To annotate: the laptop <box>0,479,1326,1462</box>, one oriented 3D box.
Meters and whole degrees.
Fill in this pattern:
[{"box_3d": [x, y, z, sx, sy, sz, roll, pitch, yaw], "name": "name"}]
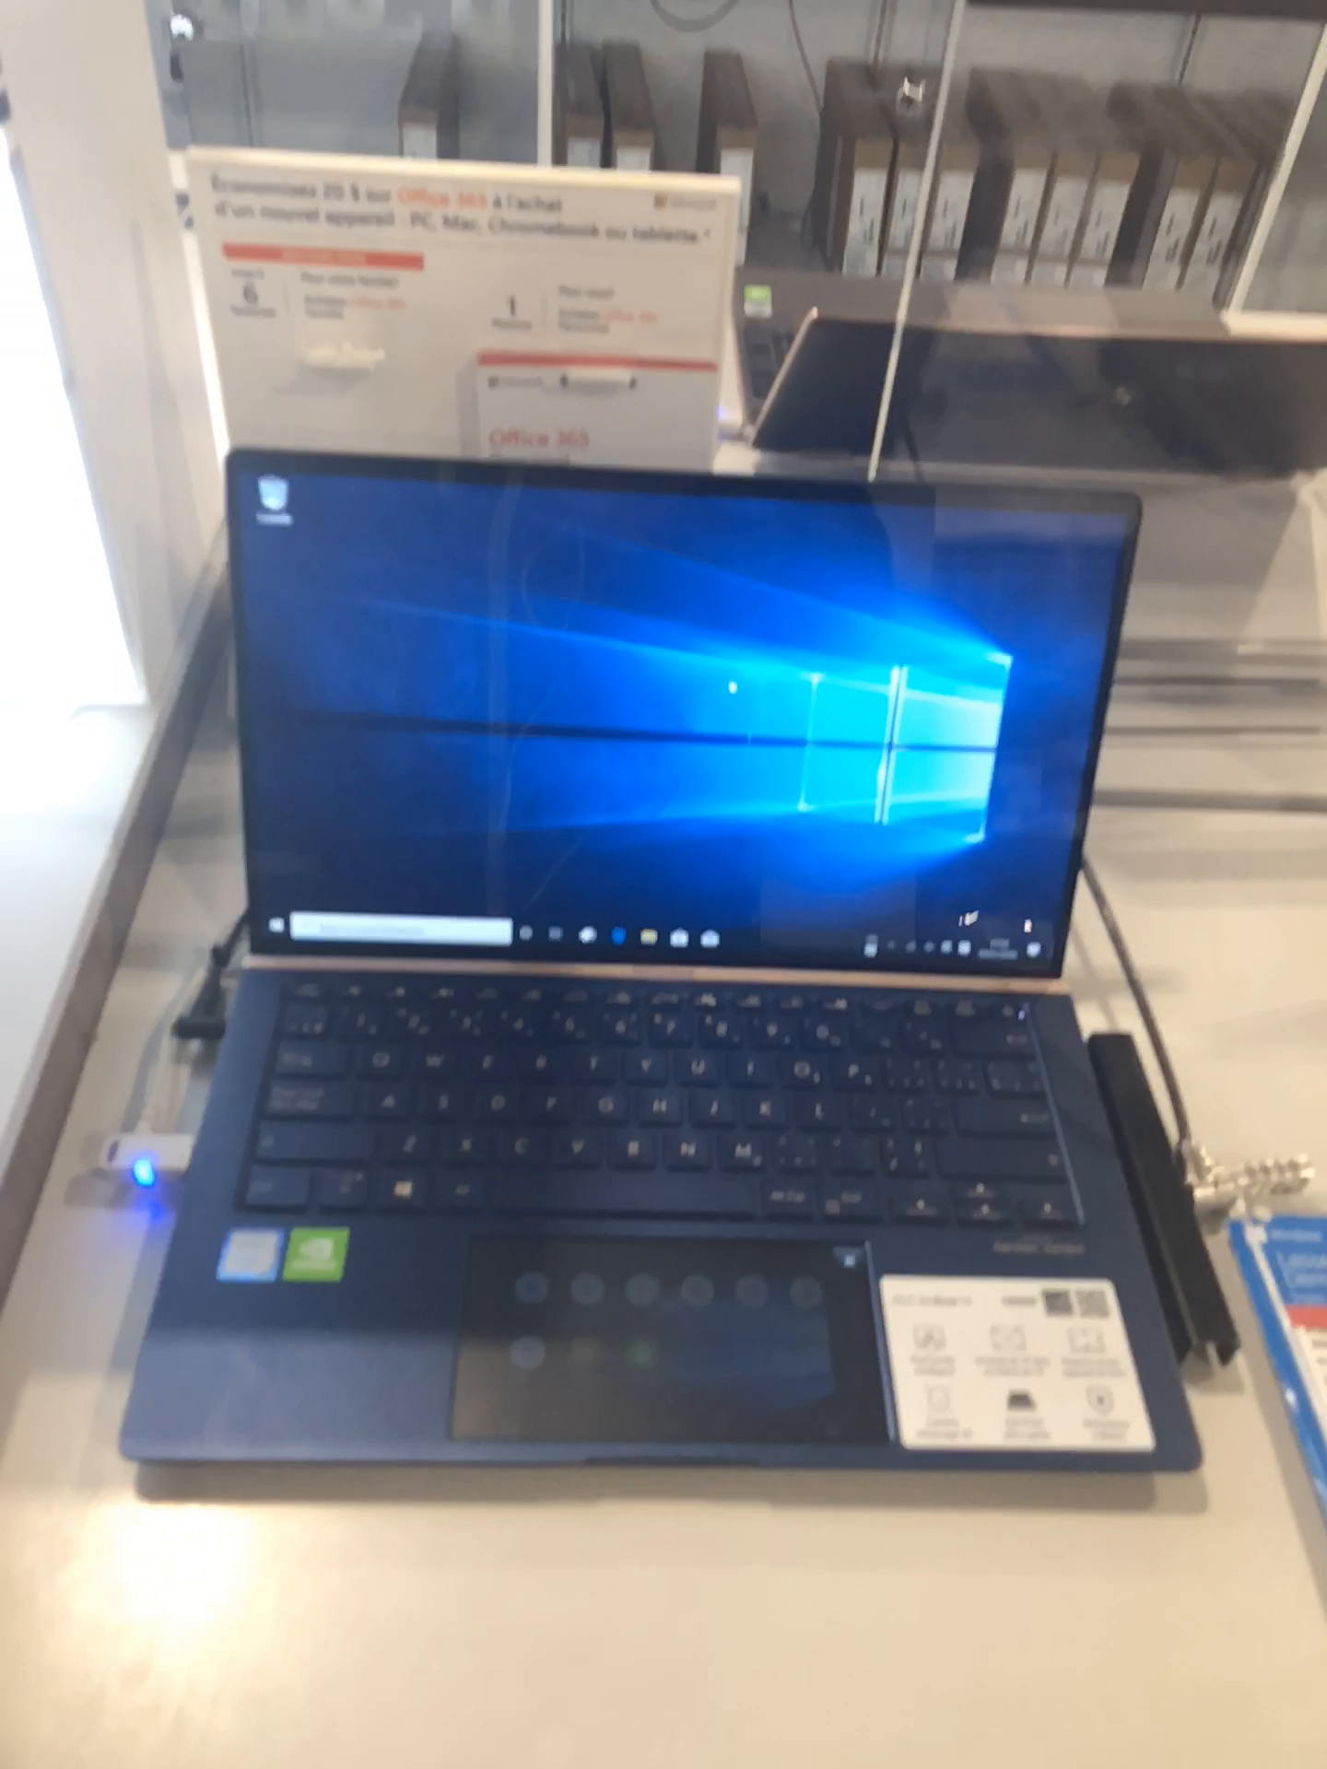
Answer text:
[{"box_3d": [0.006, 0.019, 0.453, 0.308, 0.179, 0.254, 2, 42, -4], "name": "laptop"}]
